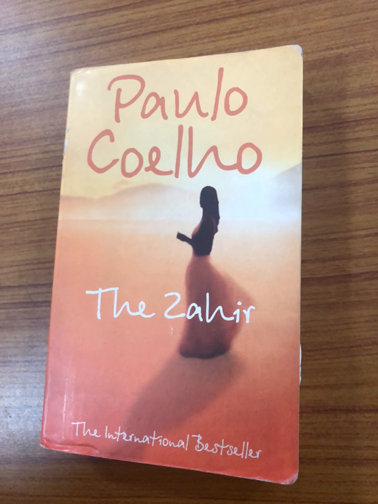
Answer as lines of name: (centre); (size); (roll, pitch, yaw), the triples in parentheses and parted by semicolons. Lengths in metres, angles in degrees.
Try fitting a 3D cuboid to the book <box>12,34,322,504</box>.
book: (-0.007, 0.003, 0.193); (0.120, 0.040, 0.180); (-1, 81, 12)
